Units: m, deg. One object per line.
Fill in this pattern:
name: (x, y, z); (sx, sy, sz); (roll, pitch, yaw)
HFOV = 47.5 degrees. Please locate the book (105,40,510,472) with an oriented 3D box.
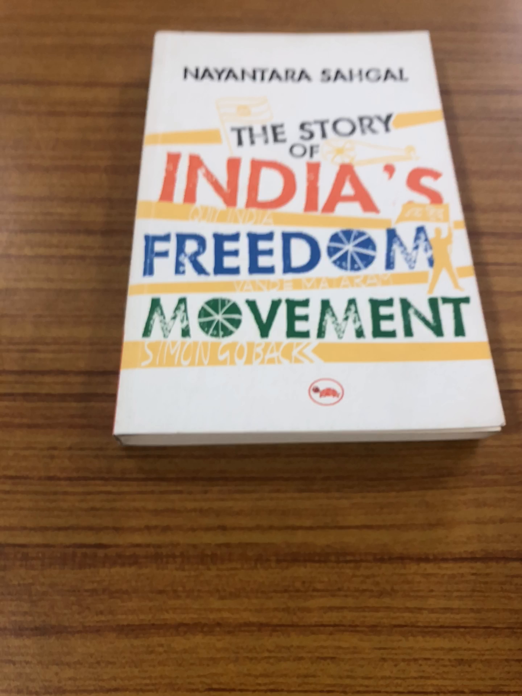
book: (0.014, -0.047, 0.244); (0.130, 0.030, 0.190); (0, 65, -1)
